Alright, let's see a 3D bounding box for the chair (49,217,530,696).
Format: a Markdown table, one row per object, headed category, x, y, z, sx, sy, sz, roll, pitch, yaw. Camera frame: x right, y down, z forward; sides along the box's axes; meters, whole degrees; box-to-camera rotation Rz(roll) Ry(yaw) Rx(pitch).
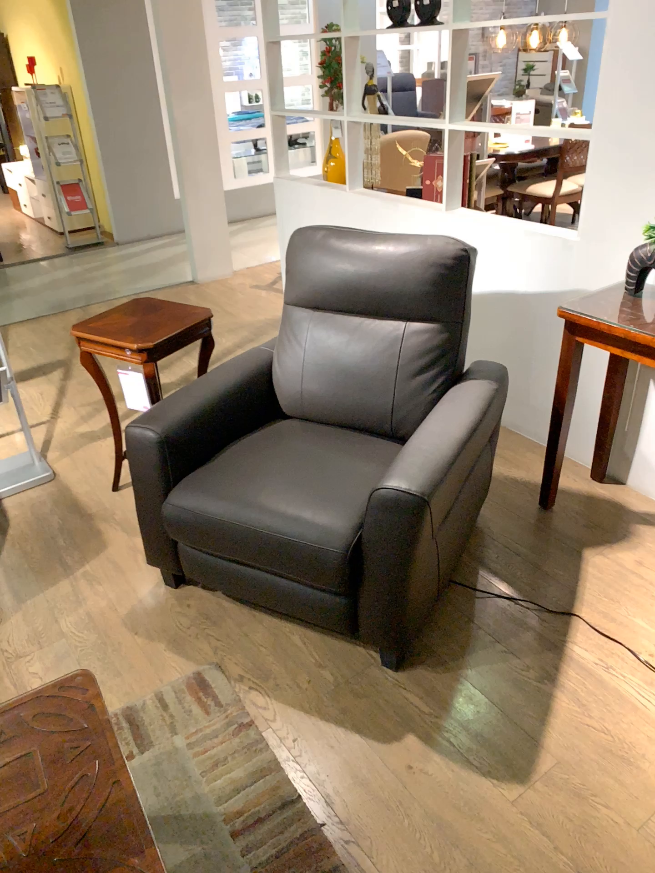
| category | x | y | z | sx | sy | sz | roll | pitch | yaw |
| --- | --- | --- | --- | --- | --- | --- | --- | --- | --- |
| chair | -0.025 | -0.055 | 1.999 | 0.941 | 0.926 | 0.923 | 13 | 33 | 25 |
